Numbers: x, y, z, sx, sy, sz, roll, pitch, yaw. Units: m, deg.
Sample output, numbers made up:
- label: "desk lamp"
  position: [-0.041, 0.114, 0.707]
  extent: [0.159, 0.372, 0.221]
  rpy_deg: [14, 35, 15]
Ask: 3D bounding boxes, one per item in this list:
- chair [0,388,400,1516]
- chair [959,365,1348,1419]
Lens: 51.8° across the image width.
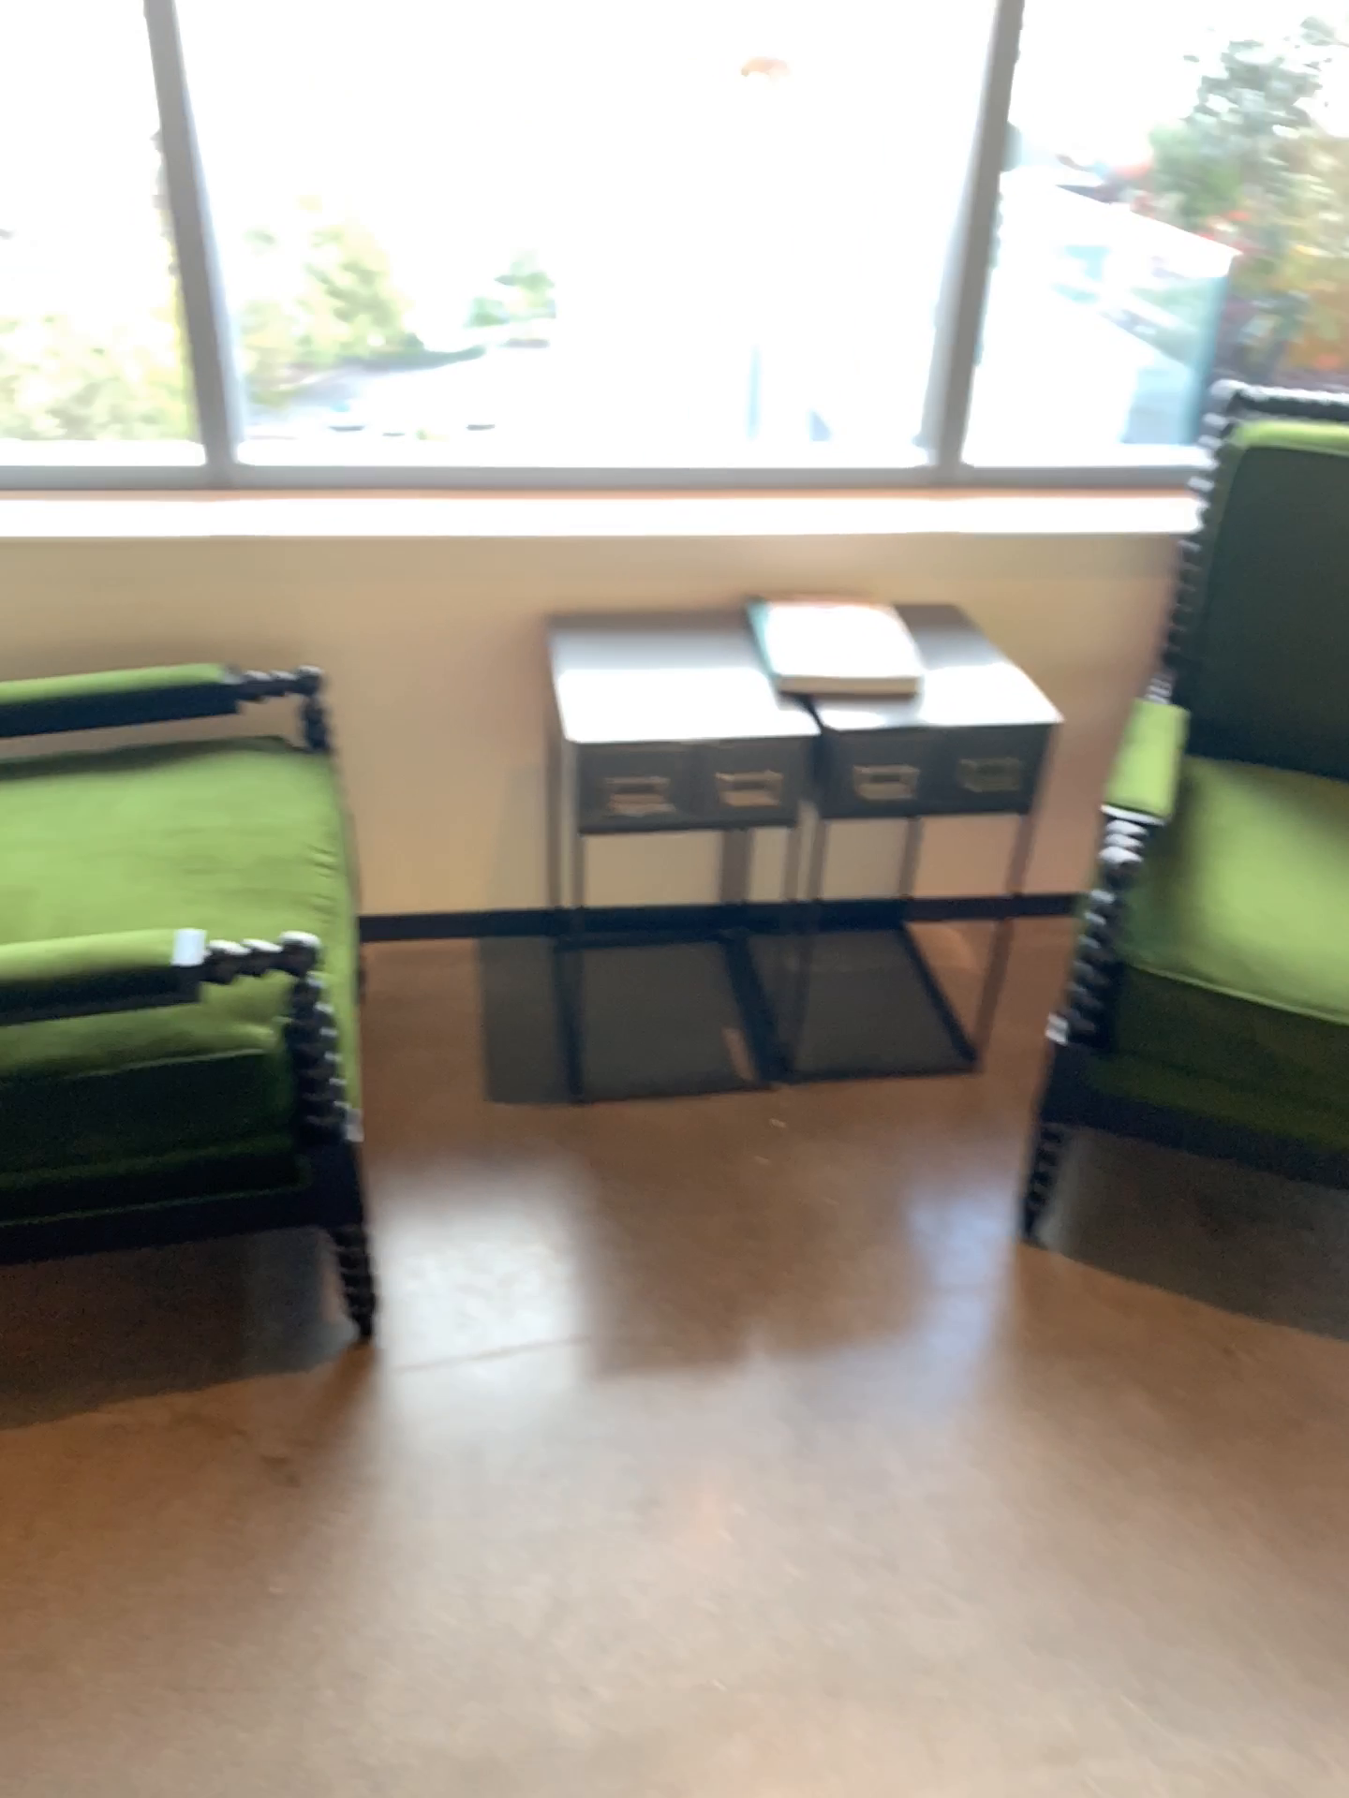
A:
- label: "chair"
  position: [-0.850, -0.015, 1.646]
  extent: [0.910, 0.924, 0.846]
  rpy_deg: [-6, 34, -12]
- label: "chair"
  position: [0.977, -0.104, 1.896]
  extent: [0.871, 0.924, 0.945]
  rpy_deg: [13, 34, 16]
